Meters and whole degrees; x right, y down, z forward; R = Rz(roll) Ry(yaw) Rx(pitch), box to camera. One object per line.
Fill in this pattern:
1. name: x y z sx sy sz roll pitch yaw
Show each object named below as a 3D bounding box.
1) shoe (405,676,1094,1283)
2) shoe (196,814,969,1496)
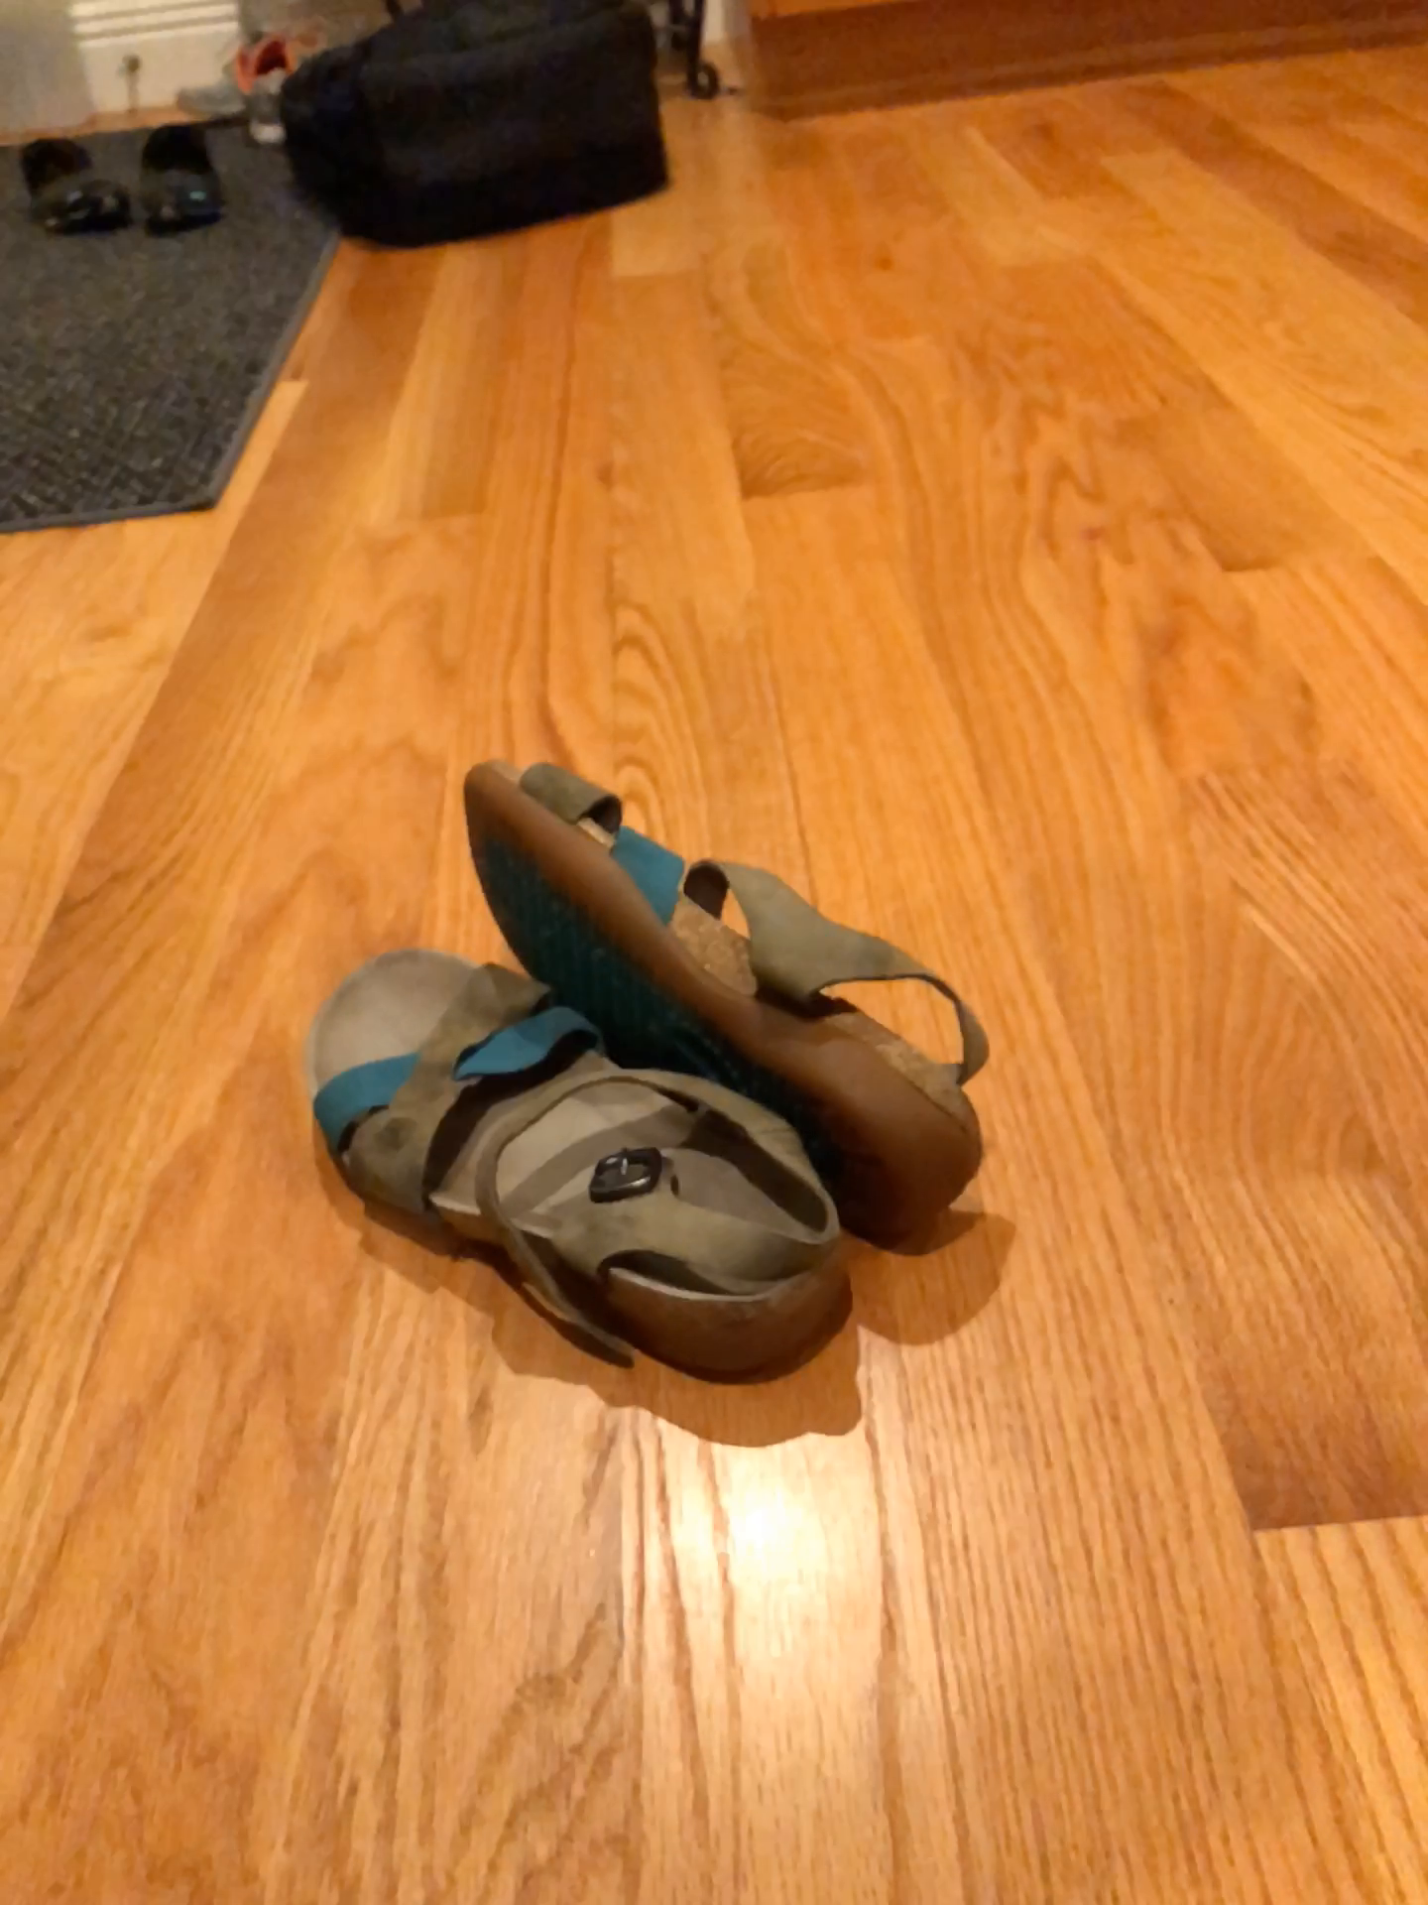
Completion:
1. shoe: 0.005 -0.002 0.530 0.238 0.104 0.065 27 49 37
2. shoe: -0.047 0.048 0.507 0.241 0.075 0.105 27 49 37
